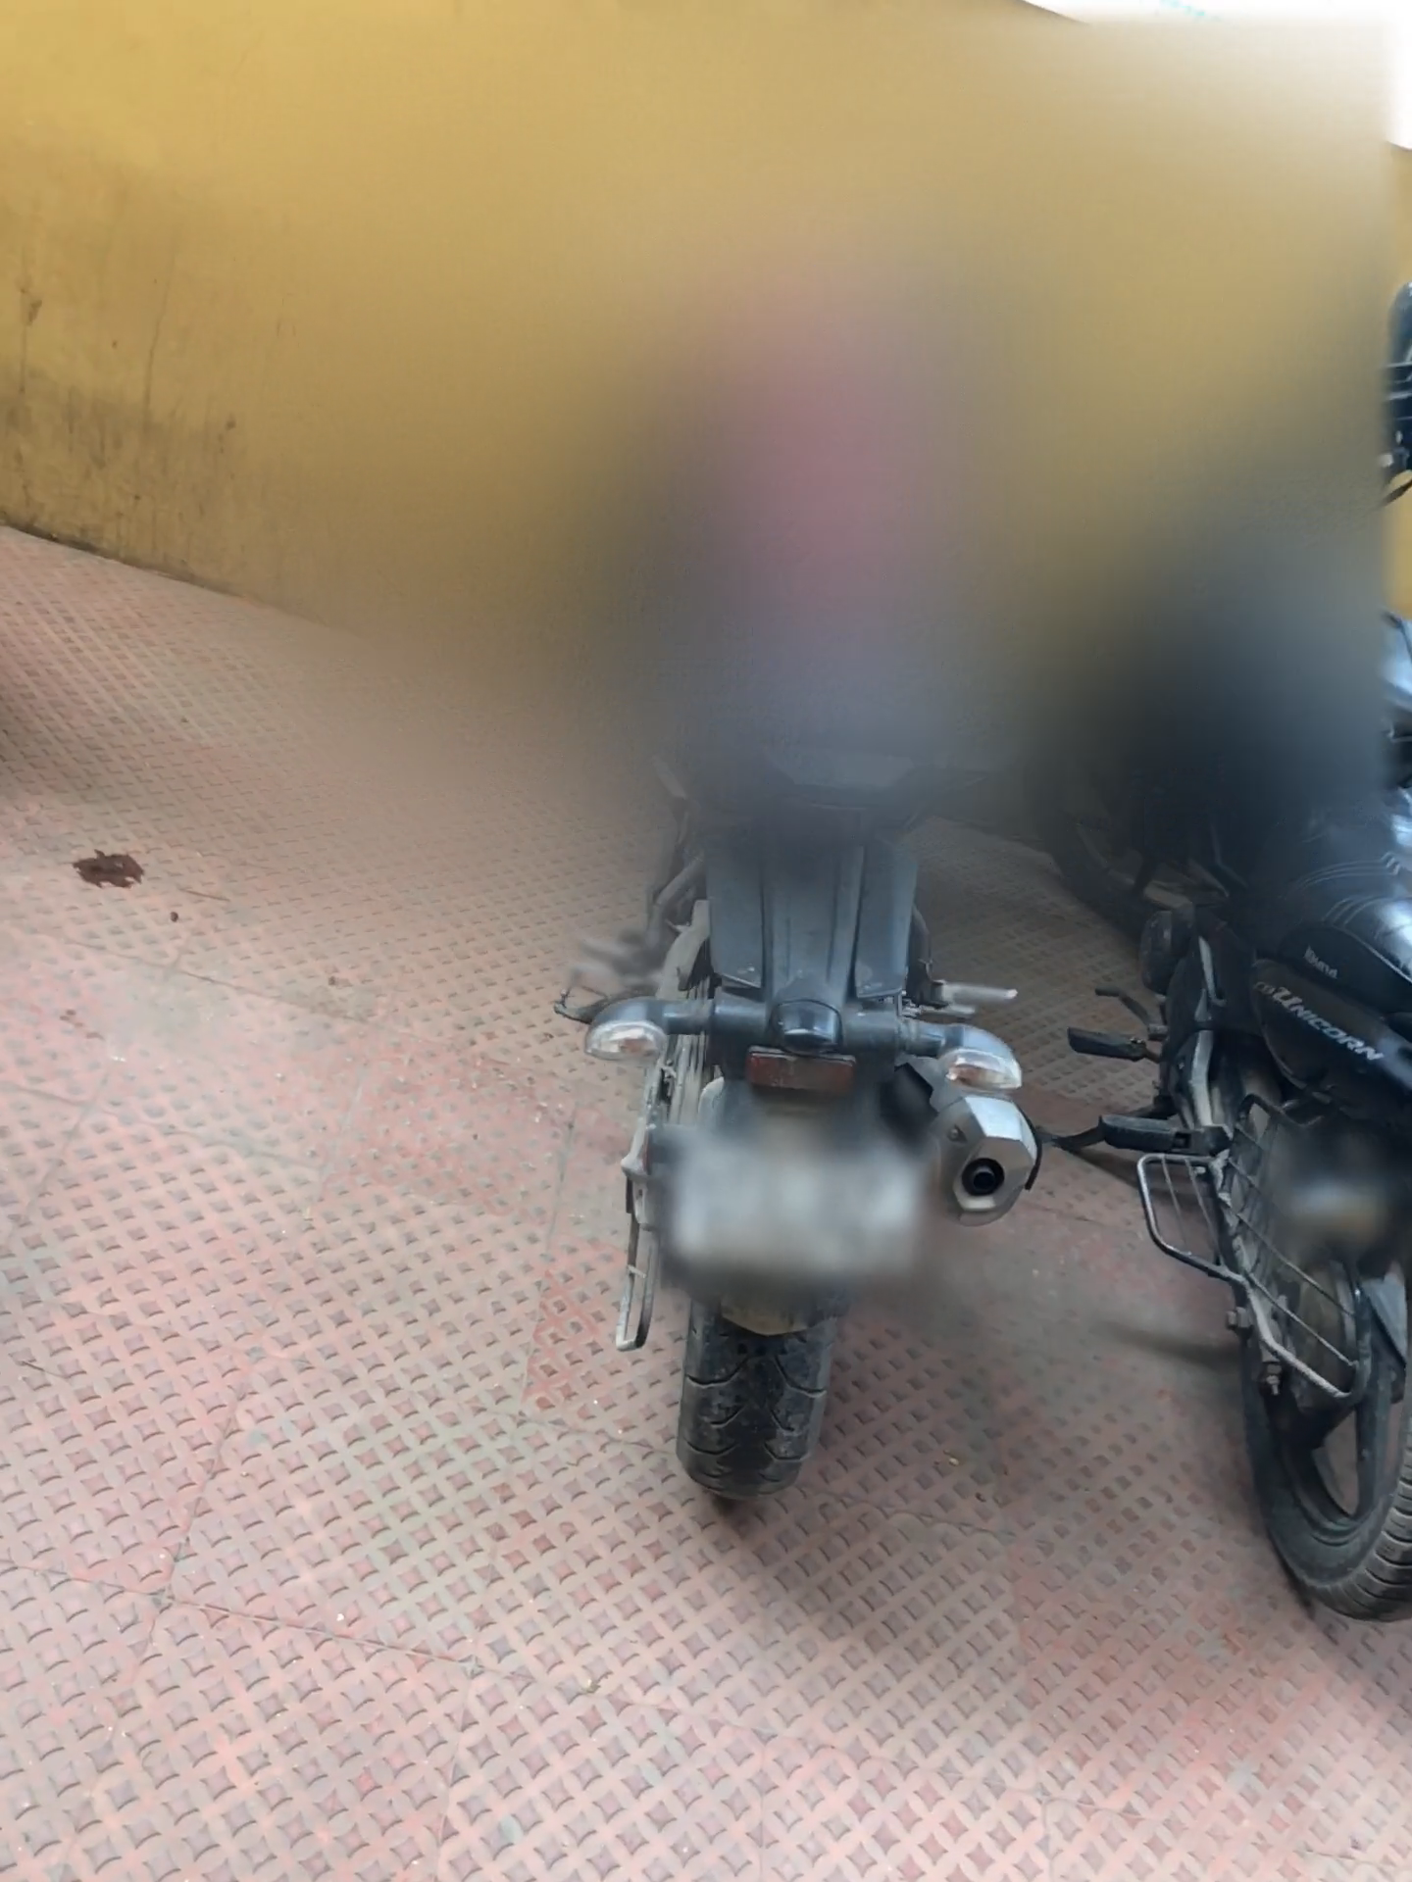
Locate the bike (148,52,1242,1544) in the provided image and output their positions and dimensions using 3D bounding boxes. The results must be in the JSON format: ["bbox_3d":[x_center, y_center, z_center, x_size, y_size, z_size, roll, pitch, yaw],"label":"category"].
[{"bbox_3d":[-0.128,-0.378,2.020,0.726,0.870,1.753,12,37,-13],"label":"bike"}]
